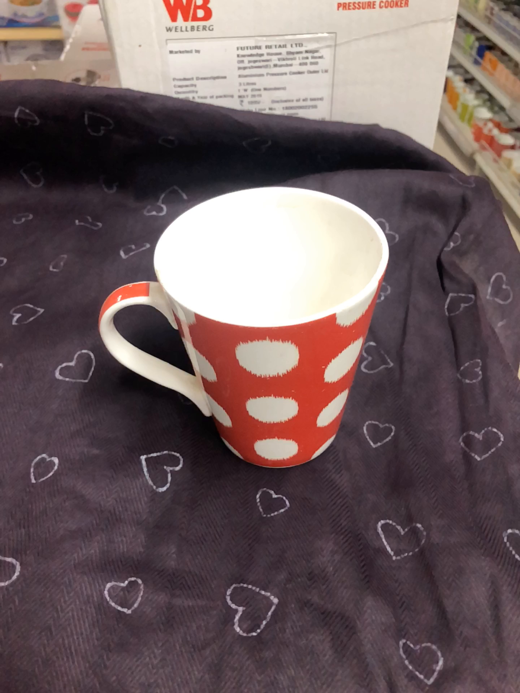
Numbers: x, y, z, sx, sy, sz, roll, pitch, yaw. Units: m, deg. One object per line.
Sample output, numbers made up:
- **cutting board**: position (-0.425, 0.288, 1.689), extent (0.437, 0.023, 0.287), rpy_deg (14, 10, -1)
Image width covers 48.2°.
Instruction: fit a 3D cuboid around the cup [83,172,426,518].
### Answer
- **cup**: position (-0.009, -0.003, 0.250), extent (0.110, 0.099, 0.091), rpy_deg (-8, 44, -10)
